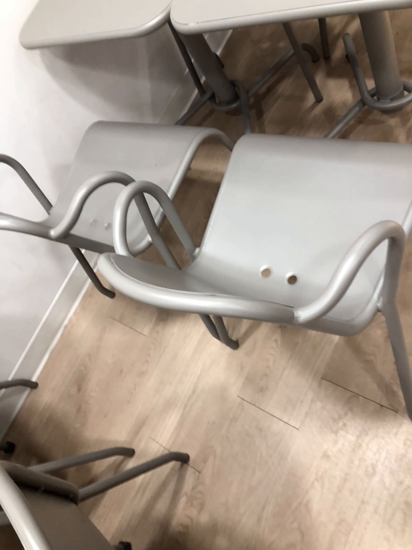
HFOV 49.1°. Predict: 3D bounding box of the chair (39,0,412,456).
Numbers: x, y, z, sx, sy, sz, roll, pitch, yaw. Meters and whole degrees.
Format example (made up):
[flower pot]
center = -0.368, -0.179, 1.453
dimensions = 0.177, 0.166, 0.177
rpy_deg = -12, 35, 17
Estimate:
[chair]
center = 0.232, -0.090, 0.874
dimensions = 0.482, 0.706, 0.611
rpy_deg = 18, 77, 36
